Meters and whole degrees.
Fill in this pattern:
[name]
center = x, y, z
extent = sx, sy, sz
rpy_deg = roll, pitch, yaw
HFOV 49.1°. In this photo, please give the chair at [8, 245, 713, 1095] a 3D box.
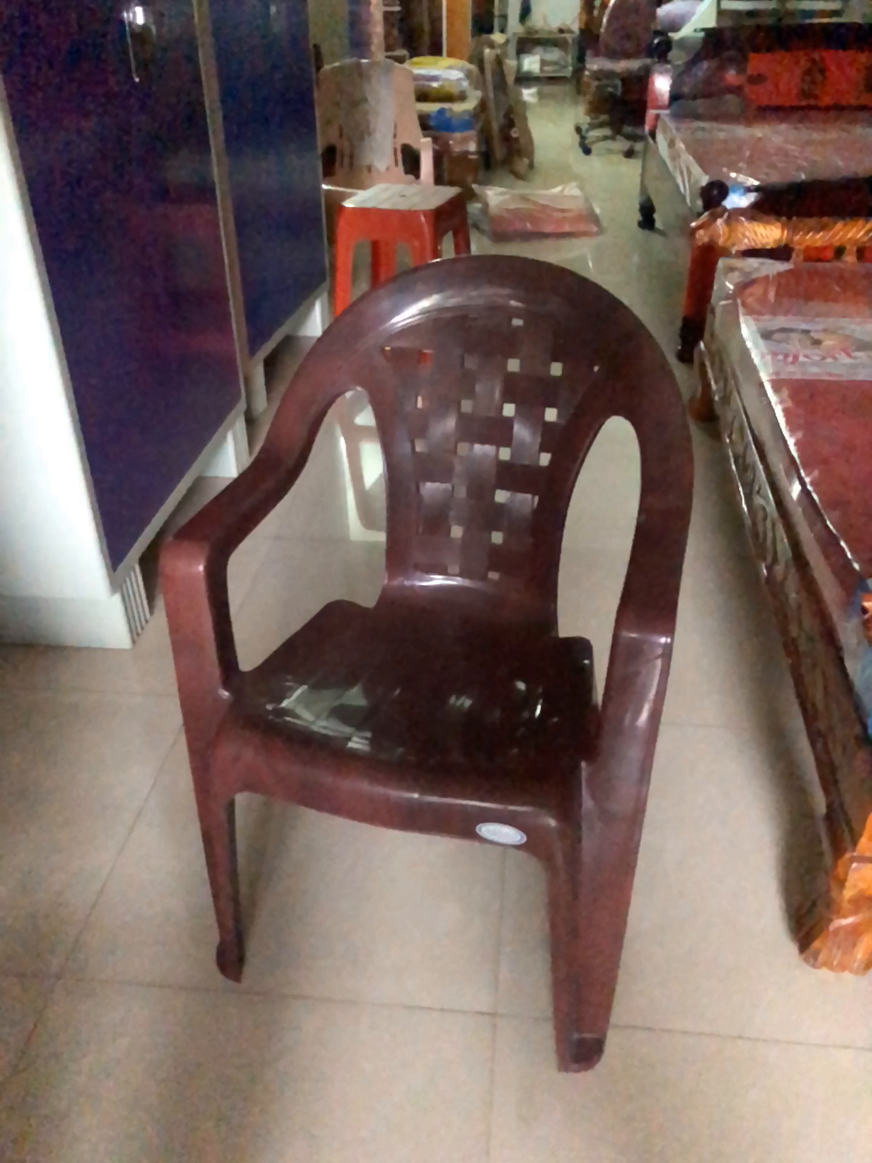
[chair]
center = -0.006, 0.076, 1.255
extent = 0.600, 0.835, 0.614
rpy_deg = 7, 33, 13
